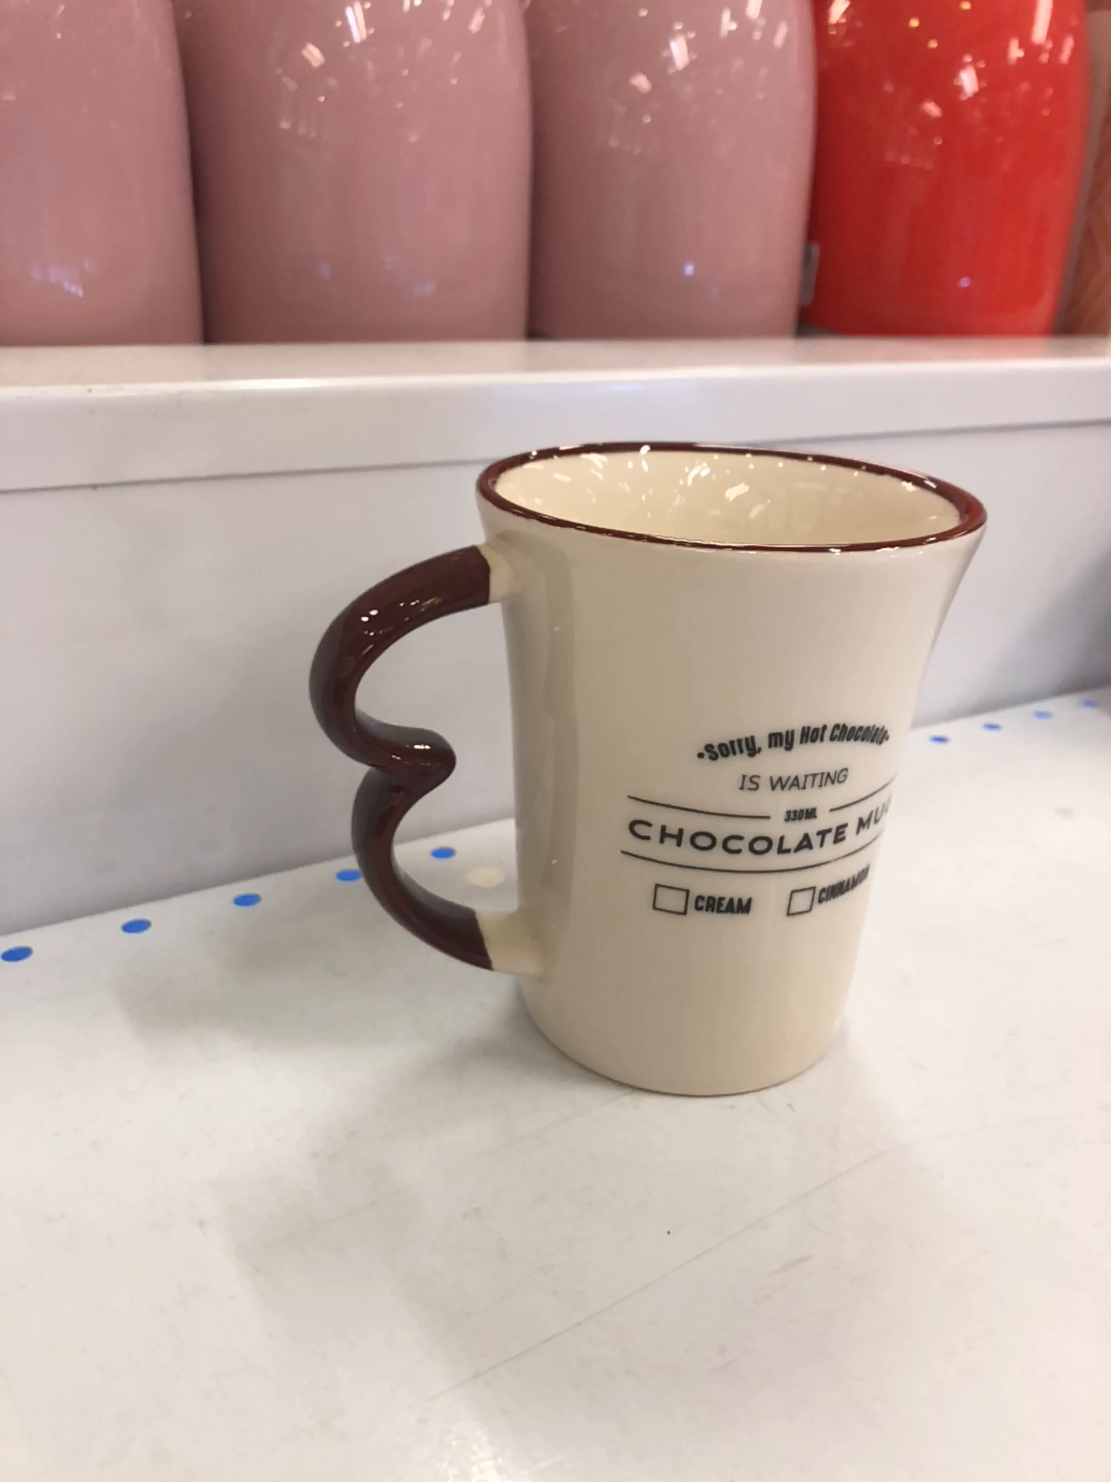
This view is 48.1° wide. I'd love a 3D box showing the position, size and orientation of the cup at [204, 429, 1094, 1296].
[{"bbox_3d":[0.010,0.007,0.230,0.120,0.109,0.090,-9,25,-27],"label":"cup"}]
